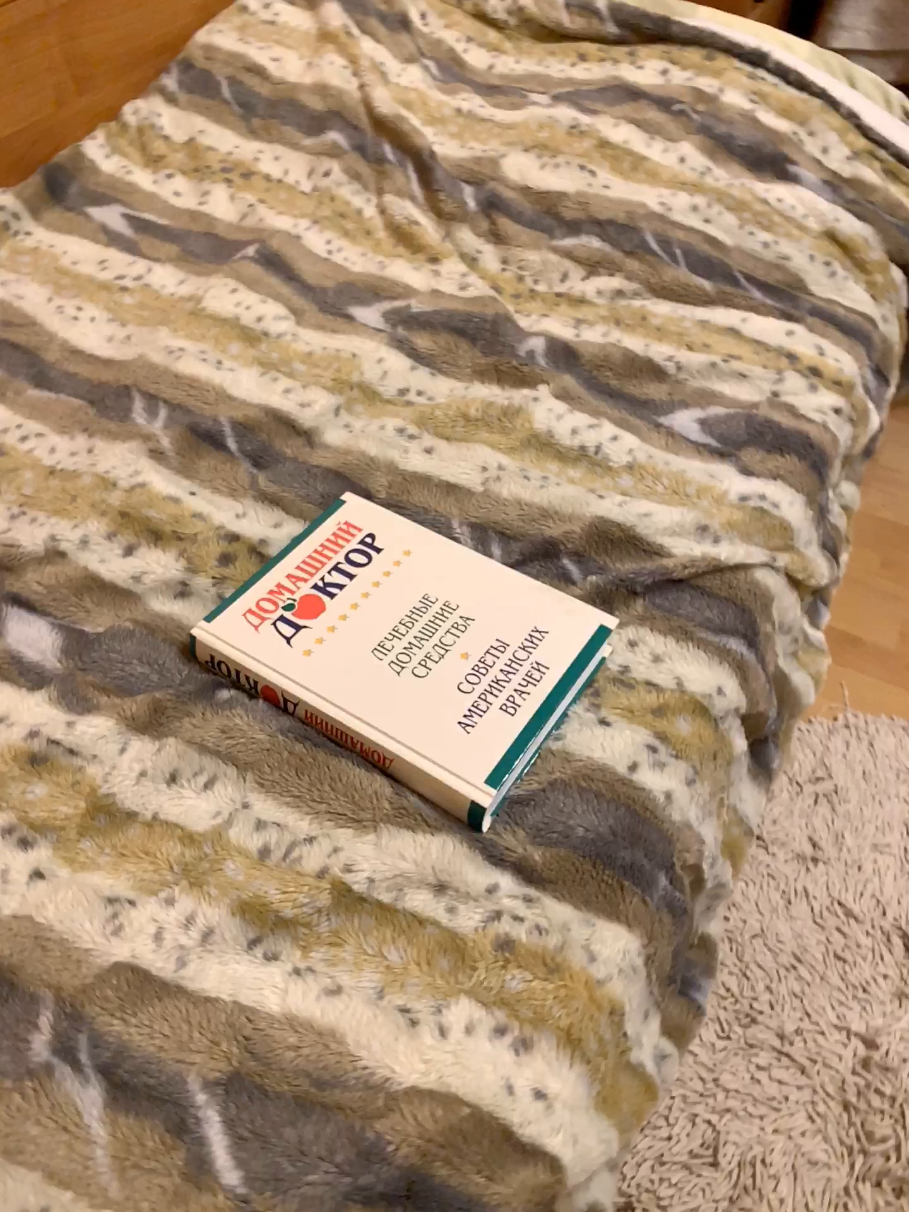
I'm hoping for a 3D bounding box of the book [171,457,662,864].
[{"bbox_3d":[-0.021,0.018,0.594,0.241,0.040,0.191,28,54,20],"label":"book"}]
